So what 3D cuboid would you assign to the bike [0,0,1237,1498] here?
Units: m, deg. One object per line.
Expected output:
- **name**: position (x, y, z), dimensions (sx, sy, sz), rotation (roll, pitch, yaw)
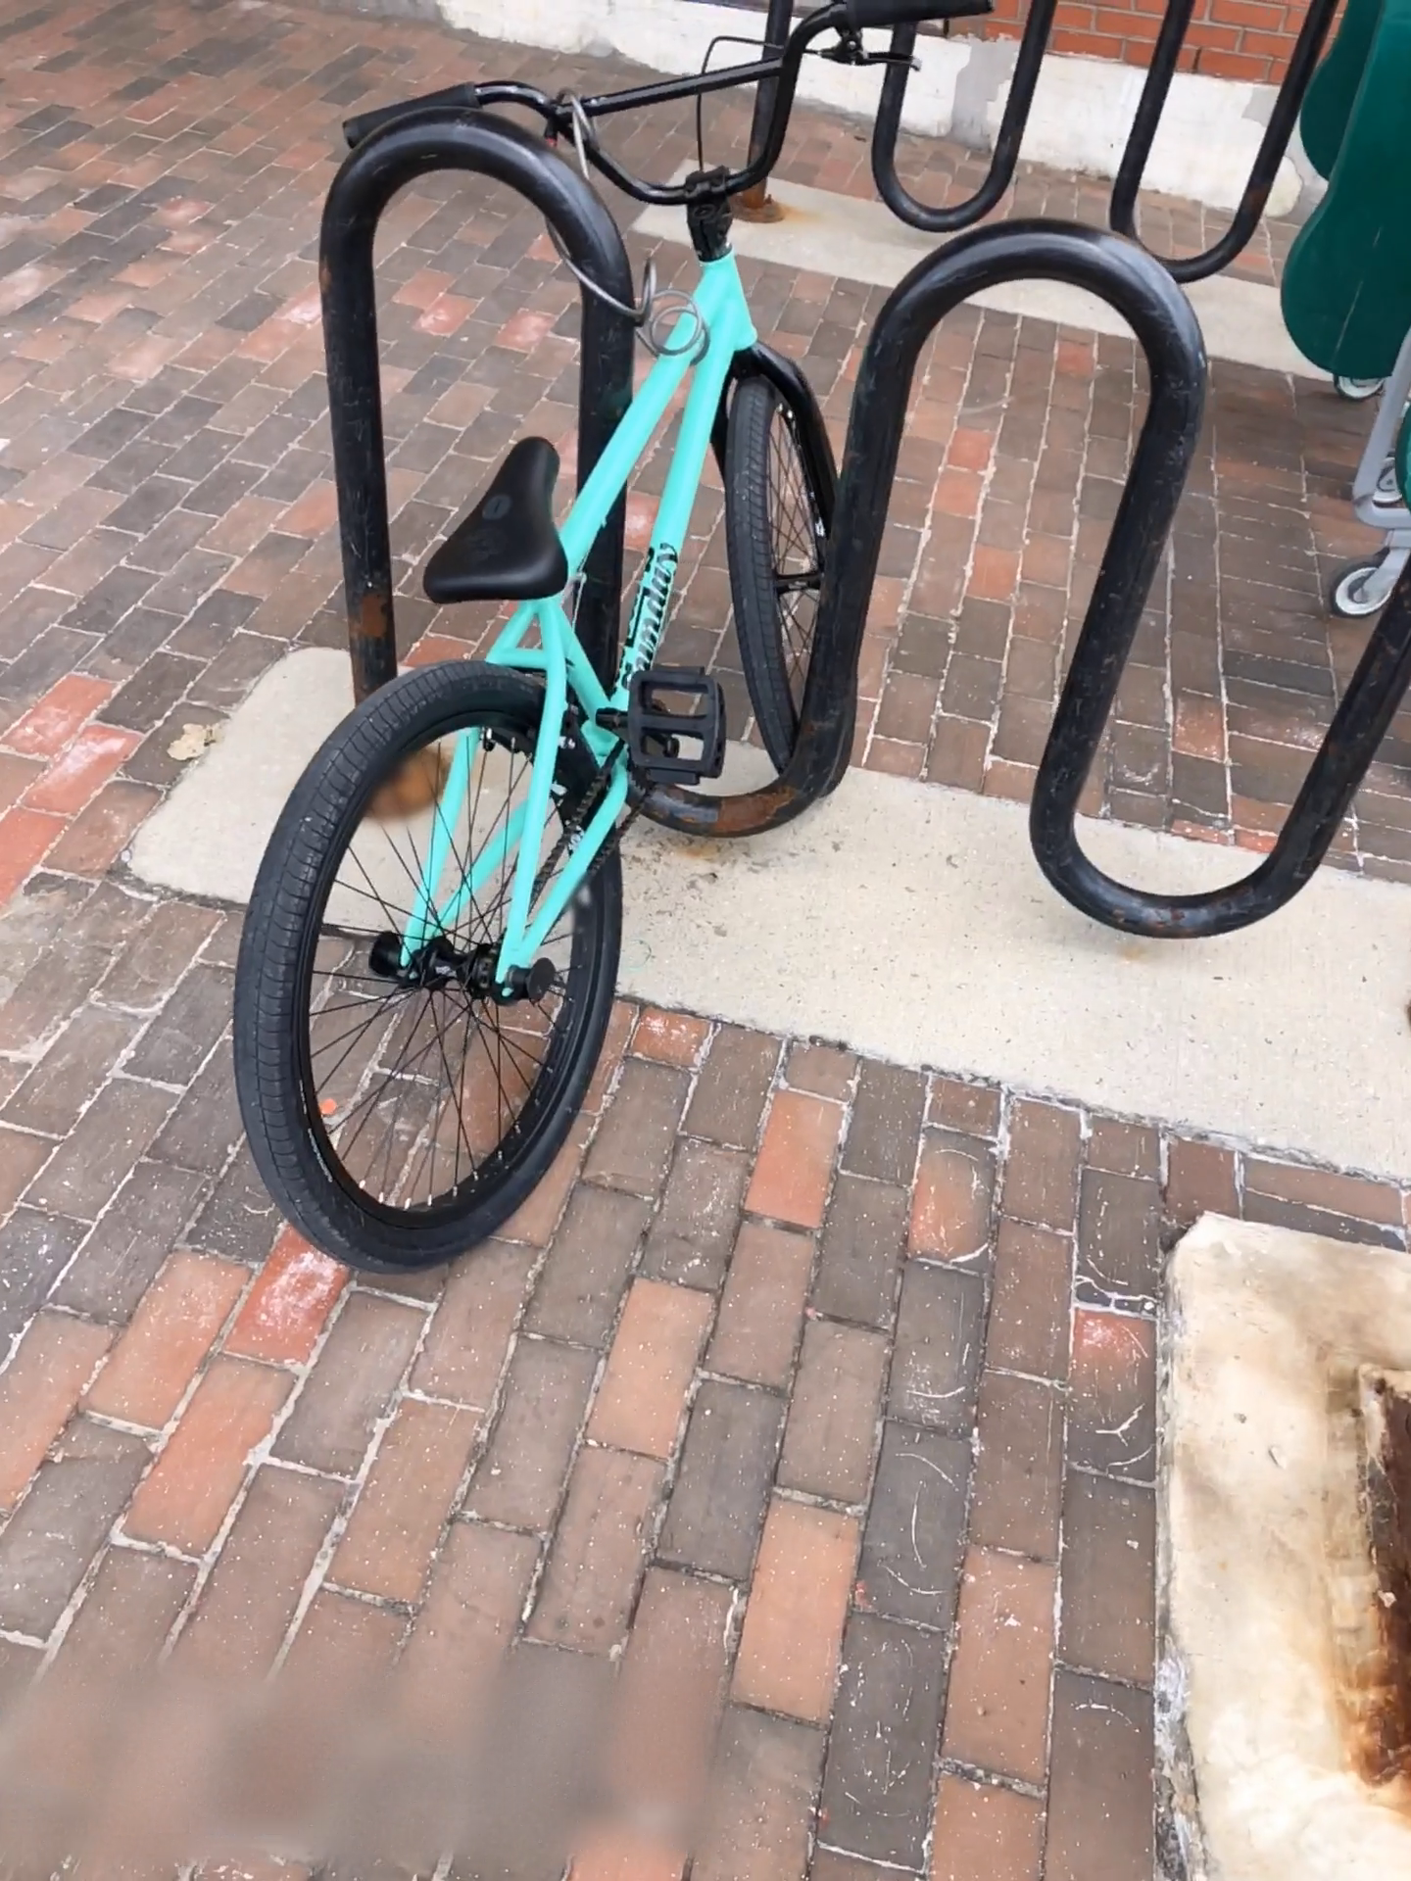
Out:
- **bike**: position (-0.094, -0.444, 1.676), dimensions (0.810, 1.067, 1.471), rotation (17, 47, 12)
